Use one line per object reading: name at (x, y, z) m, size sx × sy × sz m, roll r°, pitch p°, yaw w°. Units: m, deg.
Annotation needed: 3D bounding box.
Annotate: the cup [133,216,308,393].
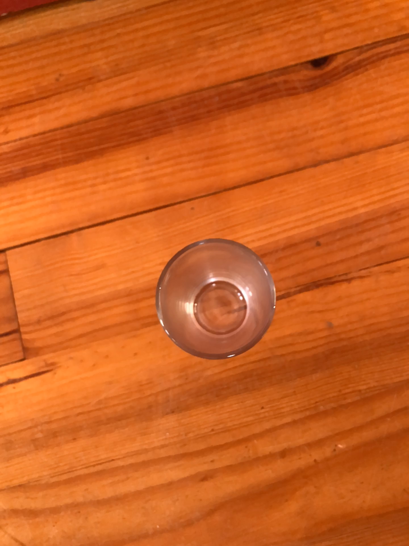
cup at (0.009, 0.018, 0.230) m, size 0.051 × 0.079 × 0.054 m, roll -1°, pitch 81°, yaw 4°
